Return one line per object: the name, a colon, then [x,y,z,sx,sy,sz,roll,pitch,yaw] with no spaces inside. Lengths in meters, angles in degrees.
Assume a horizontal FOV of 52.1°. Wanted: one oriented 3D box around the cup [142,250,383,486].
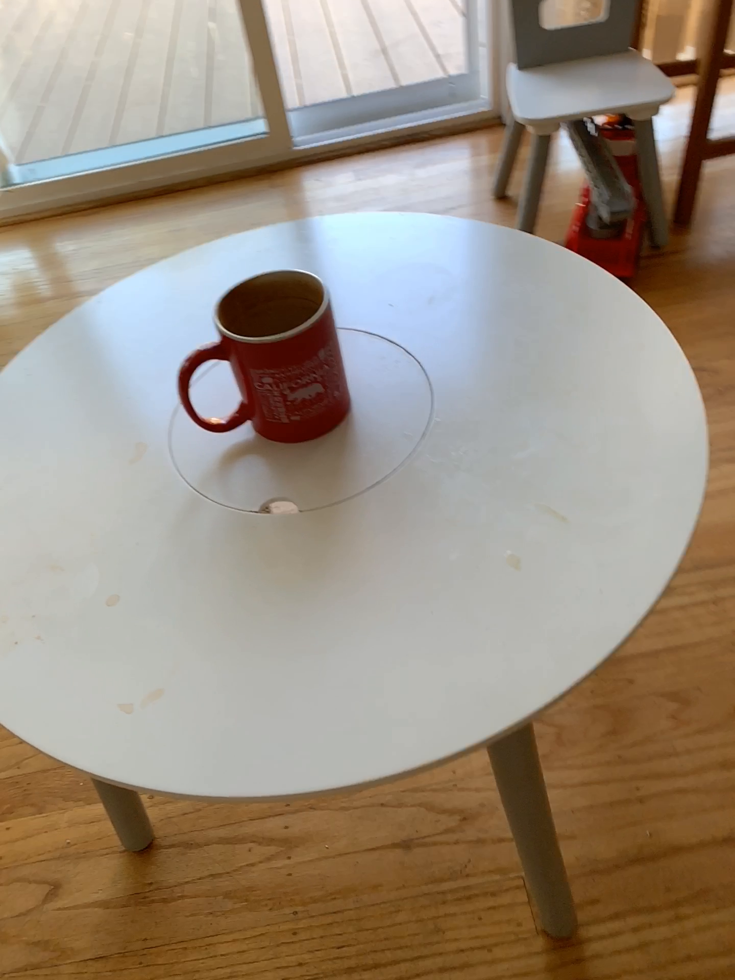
cup: [-0.071,-0.086,0.527,0.130,0.090,0.090,-22,49,-9]
